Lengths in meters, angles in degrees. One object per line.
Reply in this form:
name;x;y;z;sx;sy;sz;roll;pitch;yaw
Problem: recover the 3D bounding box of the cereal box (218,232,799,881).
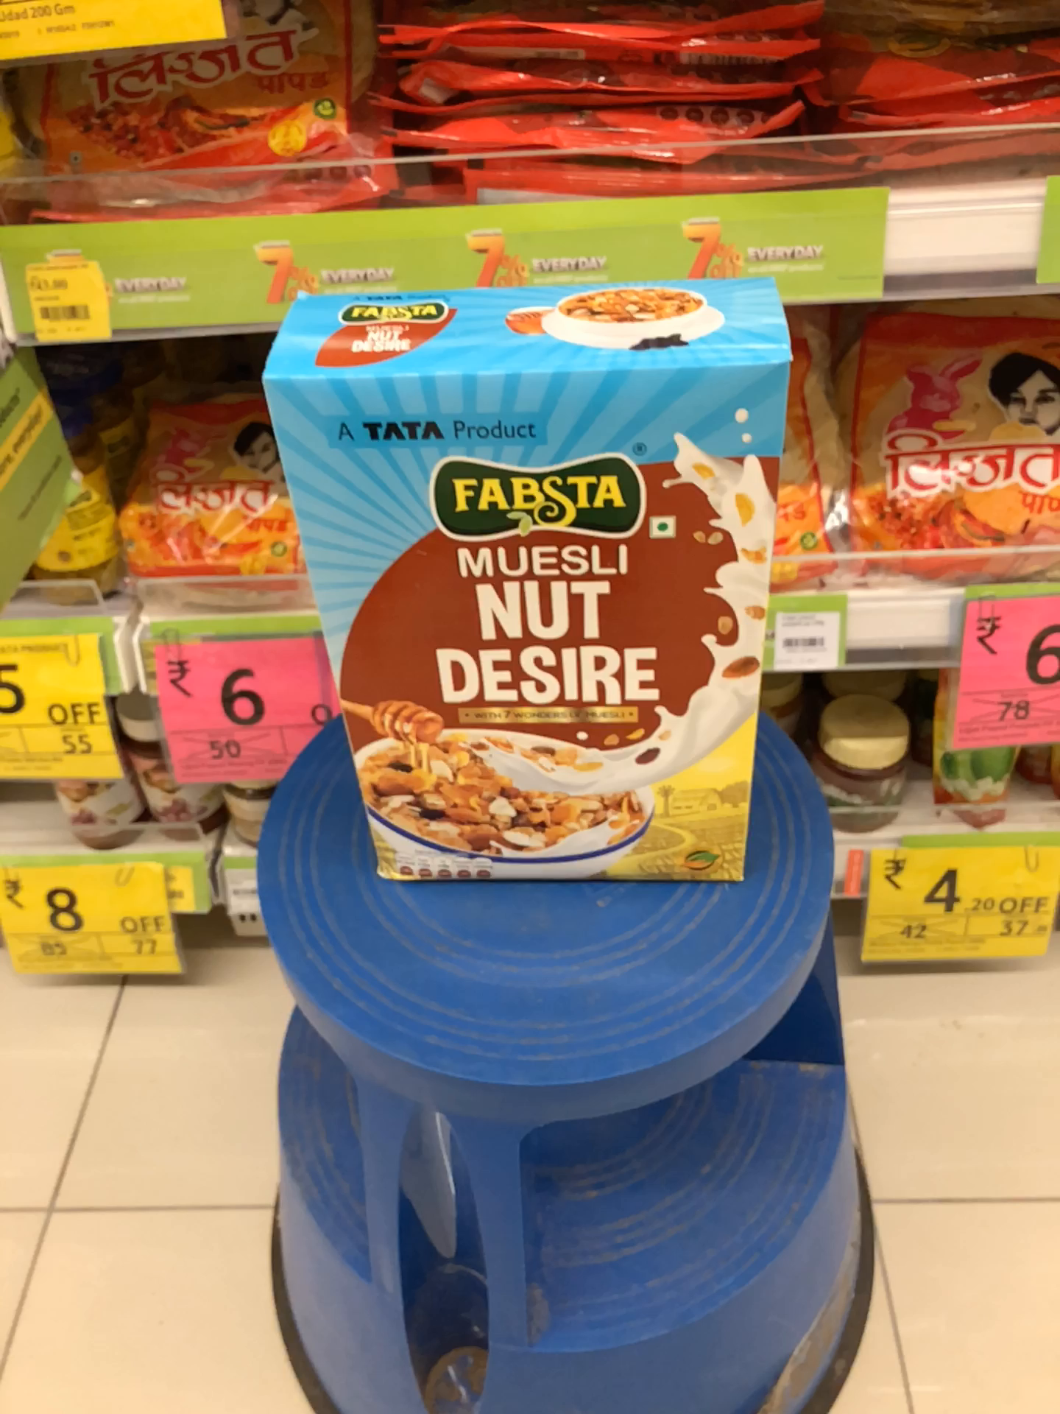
cereal box;0.001;-0.040;0.453;0.170;0.248;0.070;-1;43;4
